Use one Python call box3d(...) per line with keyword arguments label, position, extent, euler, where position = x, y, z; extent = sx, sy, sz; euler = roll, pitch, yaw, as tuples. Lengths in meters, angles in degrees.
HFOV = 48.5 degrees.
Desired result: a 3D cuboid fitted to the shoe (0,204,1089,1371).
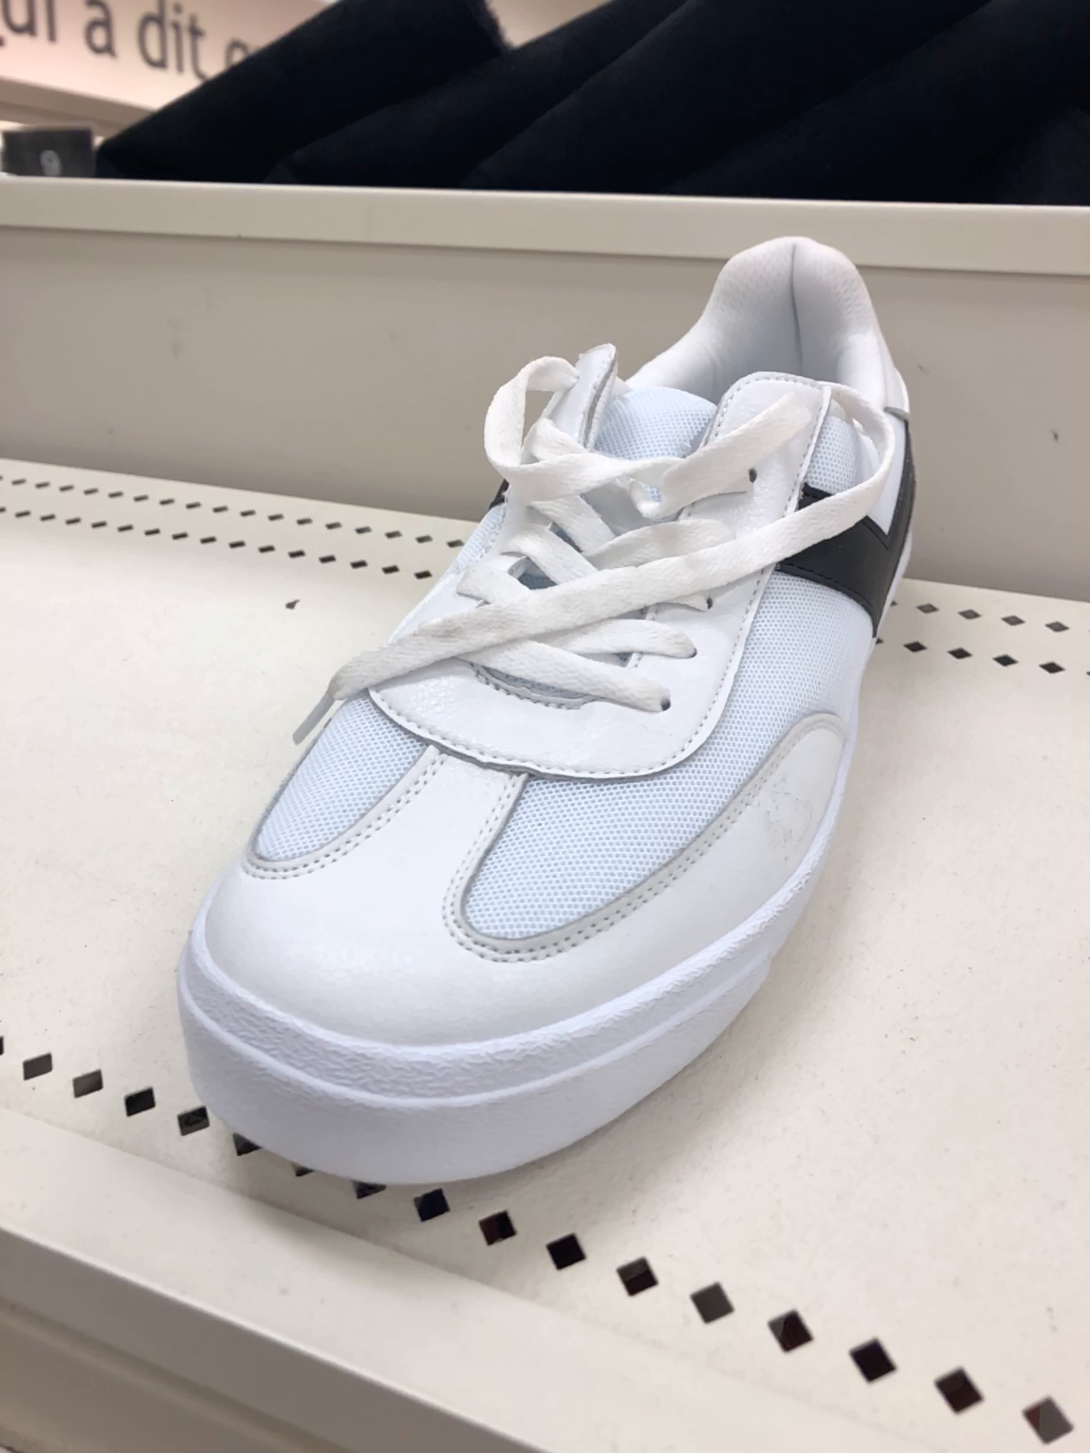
box3d(label="shoe", position=(0.049, -0.054, 0.309), extent=(0.113, 0.129, 0.372), euler=(13, 29, 25))
